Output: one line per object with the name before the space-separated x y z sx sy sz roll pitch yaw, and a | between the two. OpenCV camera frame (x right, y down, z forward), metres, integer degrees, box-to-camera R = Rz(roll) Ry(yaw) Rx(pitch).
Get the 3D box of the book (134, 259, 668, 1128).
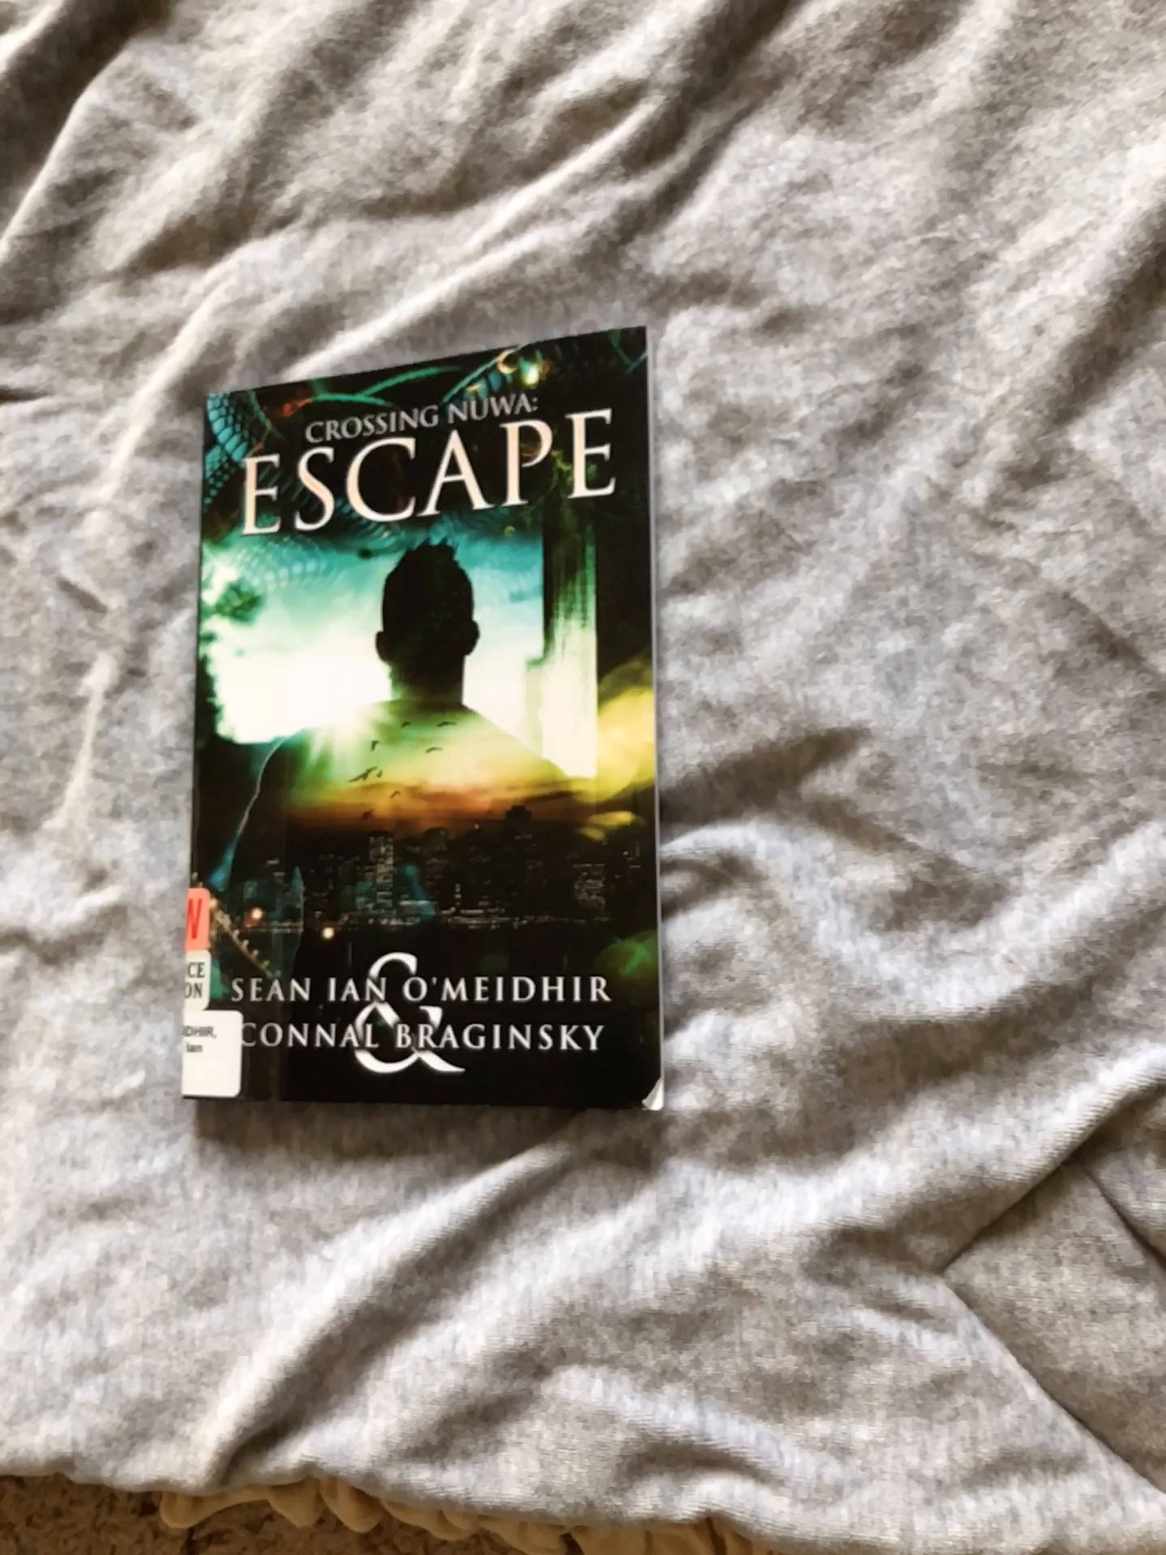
book | -0.055 -0.025 0.405 0.160 0.030 0.250 -2 82 17
